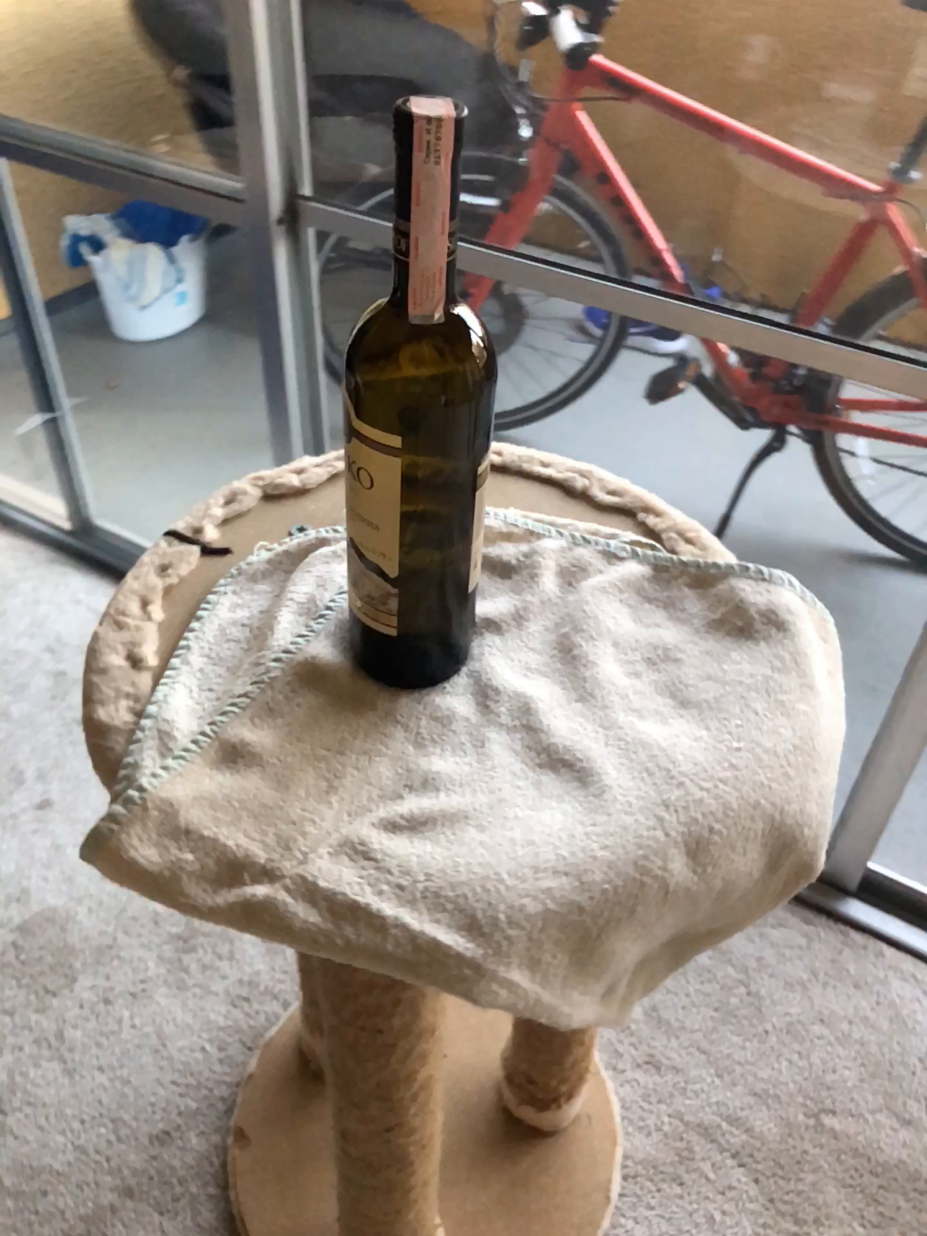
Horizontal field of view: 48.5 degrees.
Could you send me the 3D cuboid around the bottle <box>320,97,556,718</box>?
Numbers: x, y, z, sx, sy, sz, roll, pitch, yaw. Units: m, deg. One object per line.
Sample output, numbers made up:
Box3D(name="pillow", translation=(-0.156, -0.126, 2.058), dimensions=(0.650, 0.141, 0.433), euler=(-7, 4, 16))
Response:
Box3D(name="bottle", translation=(-0.016, -0.079, 0.467), dimensions=(0.080, 0.269, 0.080), euler=(1, 41, -1))
